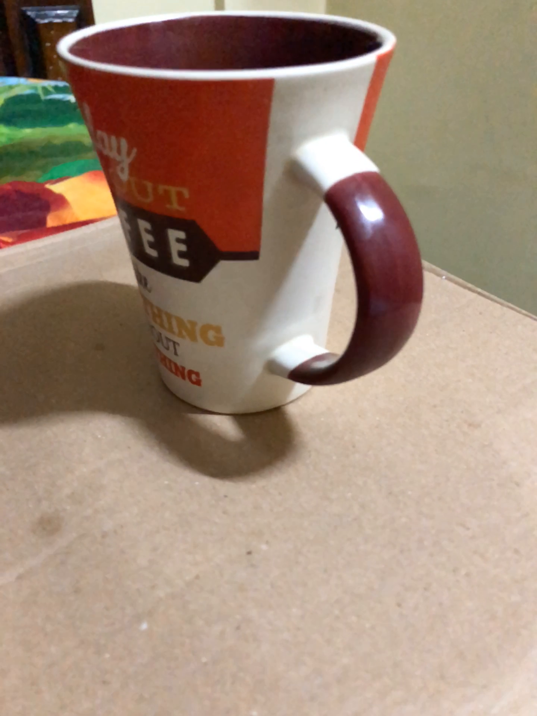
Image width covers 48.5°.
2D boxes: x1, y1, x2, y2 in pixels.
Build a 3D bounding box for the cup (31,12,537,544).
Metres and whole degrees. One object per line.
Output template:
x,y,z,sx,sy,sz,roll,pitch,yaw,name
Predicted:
0.002,-0.043,0.192,0.100,0.109,0.130,-18,38,-26,cup
